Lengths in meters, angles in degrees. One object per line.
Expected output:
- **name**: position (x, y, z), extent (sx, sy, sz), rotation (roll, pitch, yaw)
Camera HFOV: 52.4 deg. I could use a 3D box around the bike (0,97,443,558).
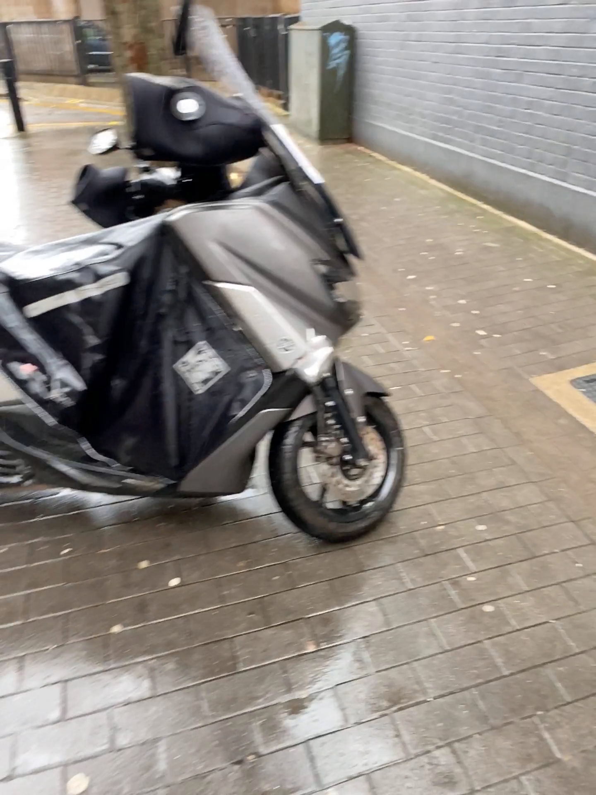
- **bike**: position (-0.556, -0.230, 1.805), extent (1.731, 1.121, 0.763), rotation (-1, 31, -2)
